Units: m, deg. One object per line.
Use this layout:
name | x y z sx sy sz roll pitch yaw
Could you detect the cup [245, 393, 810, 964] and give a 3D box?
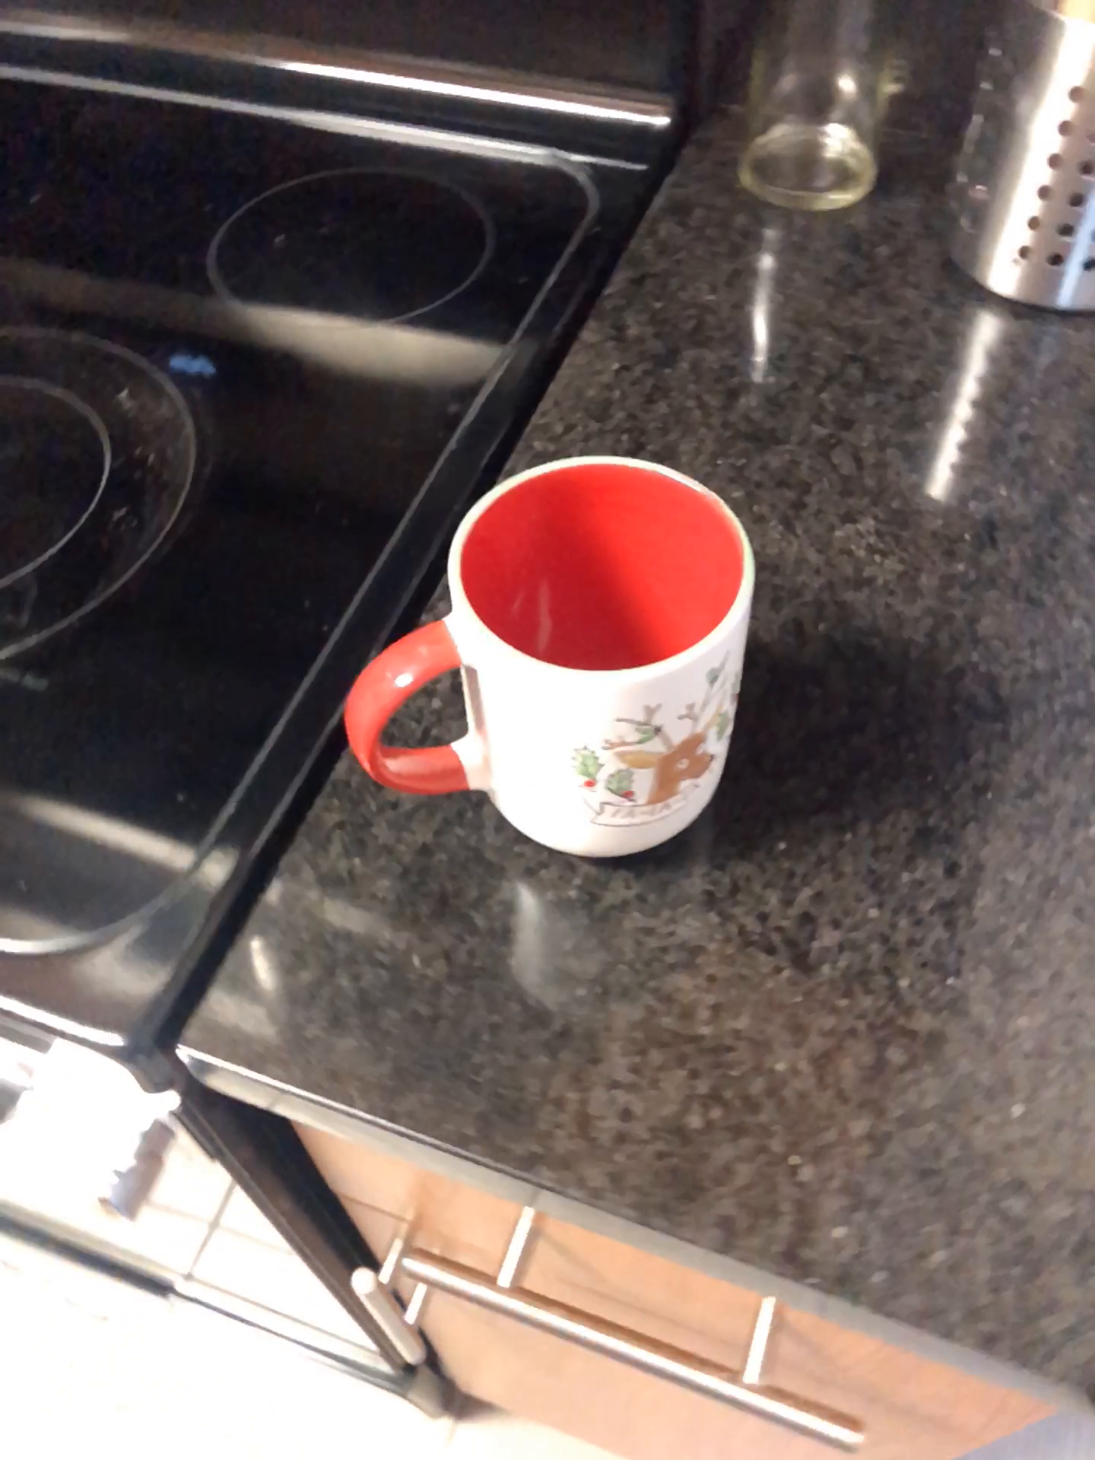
cup | -0.006 -0.015 0.379 0.130 0.110 0.090 -22 55 -13
